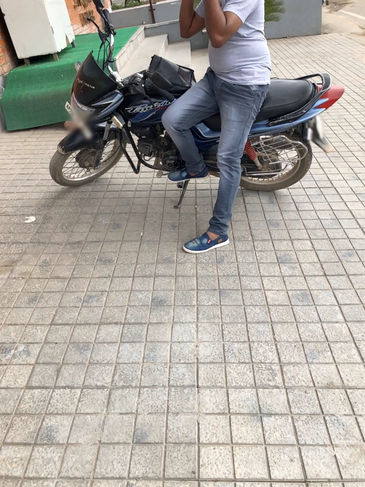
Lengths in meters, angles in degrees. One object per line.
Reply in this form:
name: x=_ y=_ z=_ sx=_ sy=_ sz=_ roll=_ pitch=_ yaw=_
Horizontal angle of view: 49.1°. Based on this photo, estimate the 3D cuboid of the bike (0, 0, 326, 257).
bike: x=-0.144 y=-0.732 z=2.365 sx=1.819 sy=1.345 sz=0.817 roll=-3 pitch=34 yaw=5
